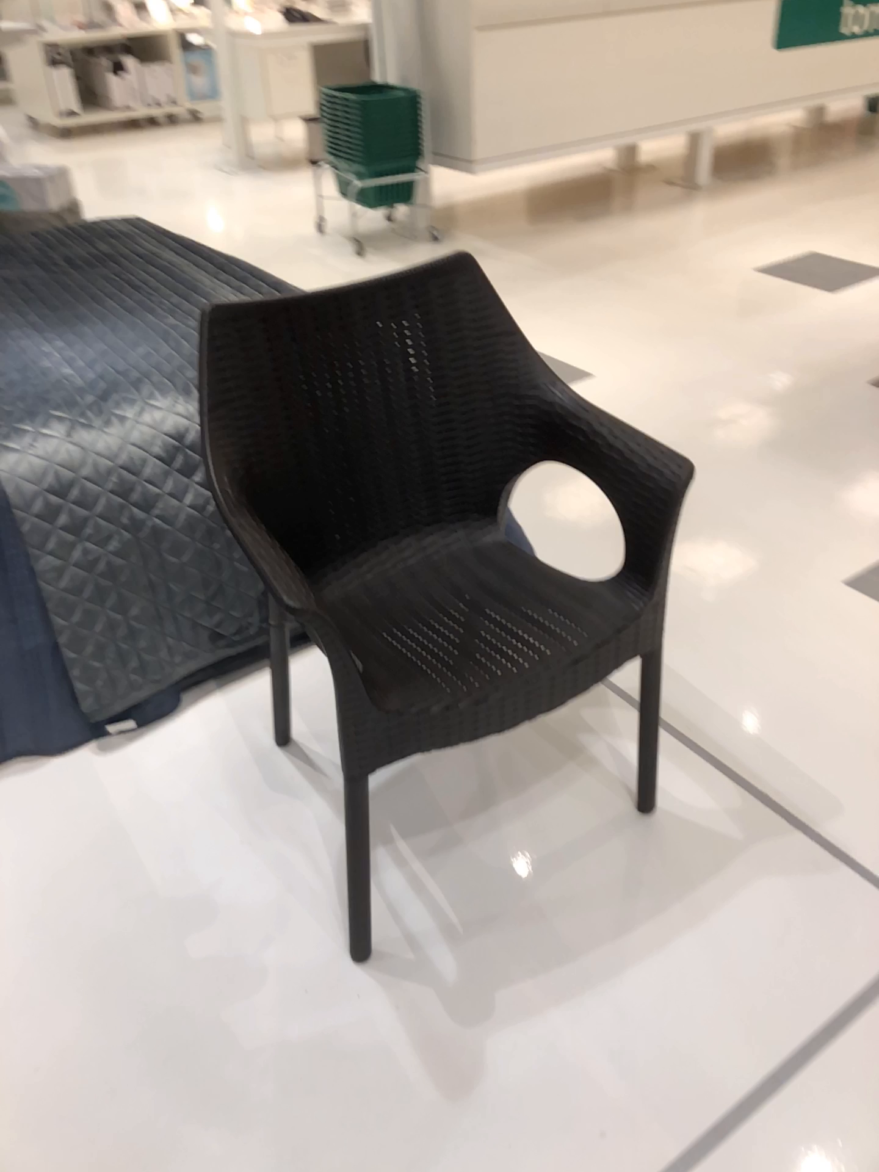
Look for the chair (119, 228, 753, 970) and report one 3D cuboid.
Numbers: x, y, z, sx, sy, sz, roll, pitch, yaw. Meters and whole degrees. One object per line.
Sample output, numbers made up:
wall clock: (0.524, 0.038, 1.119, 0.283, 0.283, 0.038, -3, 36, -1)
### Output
chair: (-0.019, -0.024, 1.417, 0.591, 0.764, 0.573, -19, 37, -23)
